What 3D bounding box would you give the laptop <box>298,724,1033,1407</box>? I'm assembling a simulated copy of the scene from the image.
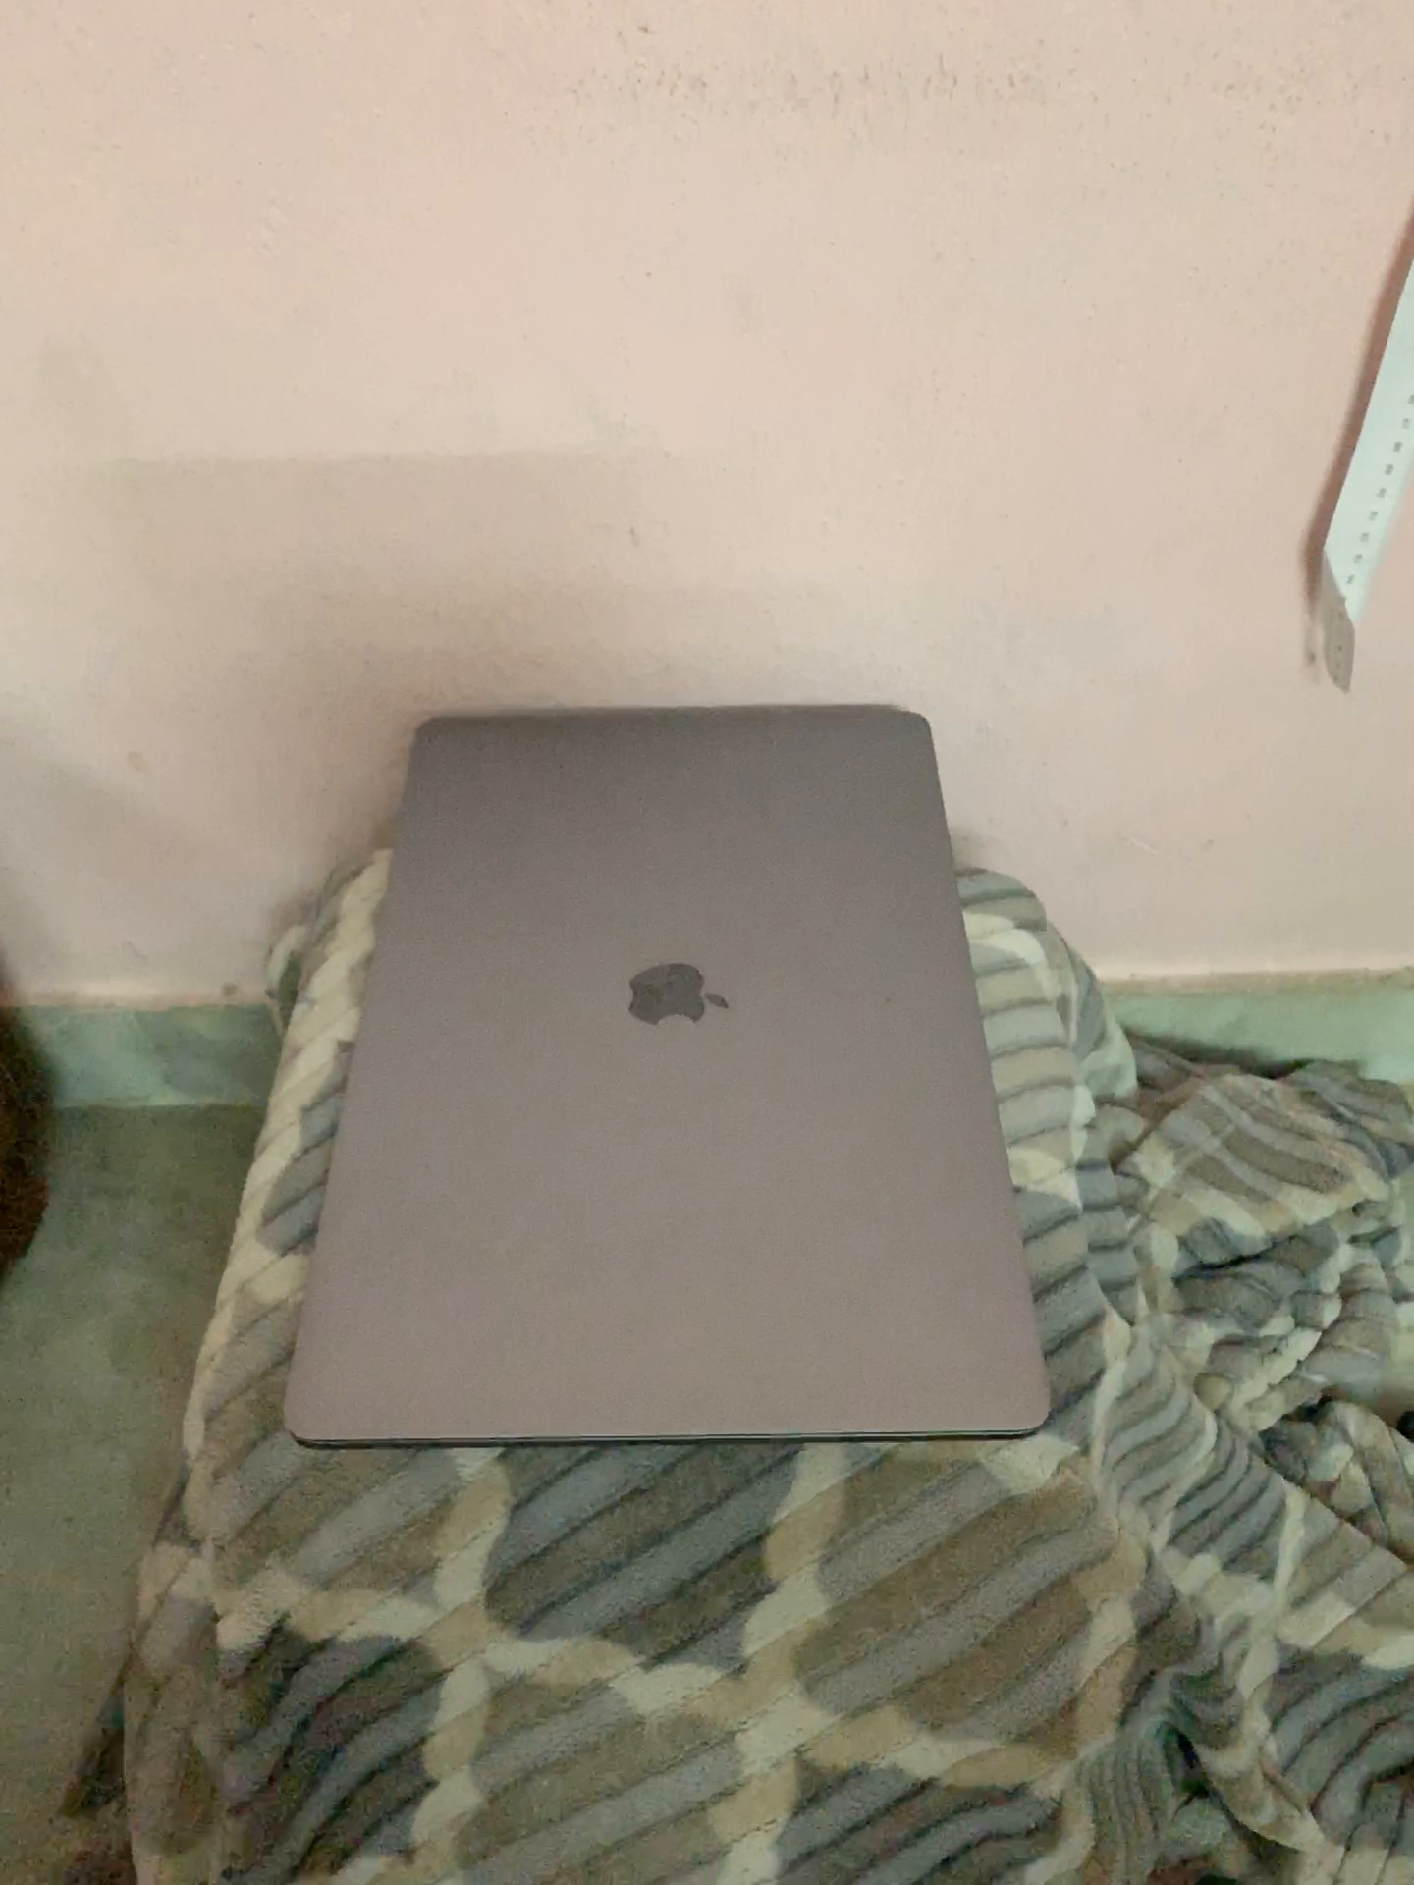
[{"bbox_3d":[-0.013,0.021,0.559,0.228,0.002,0.327,0,48,1],"label":"laptop"}]
